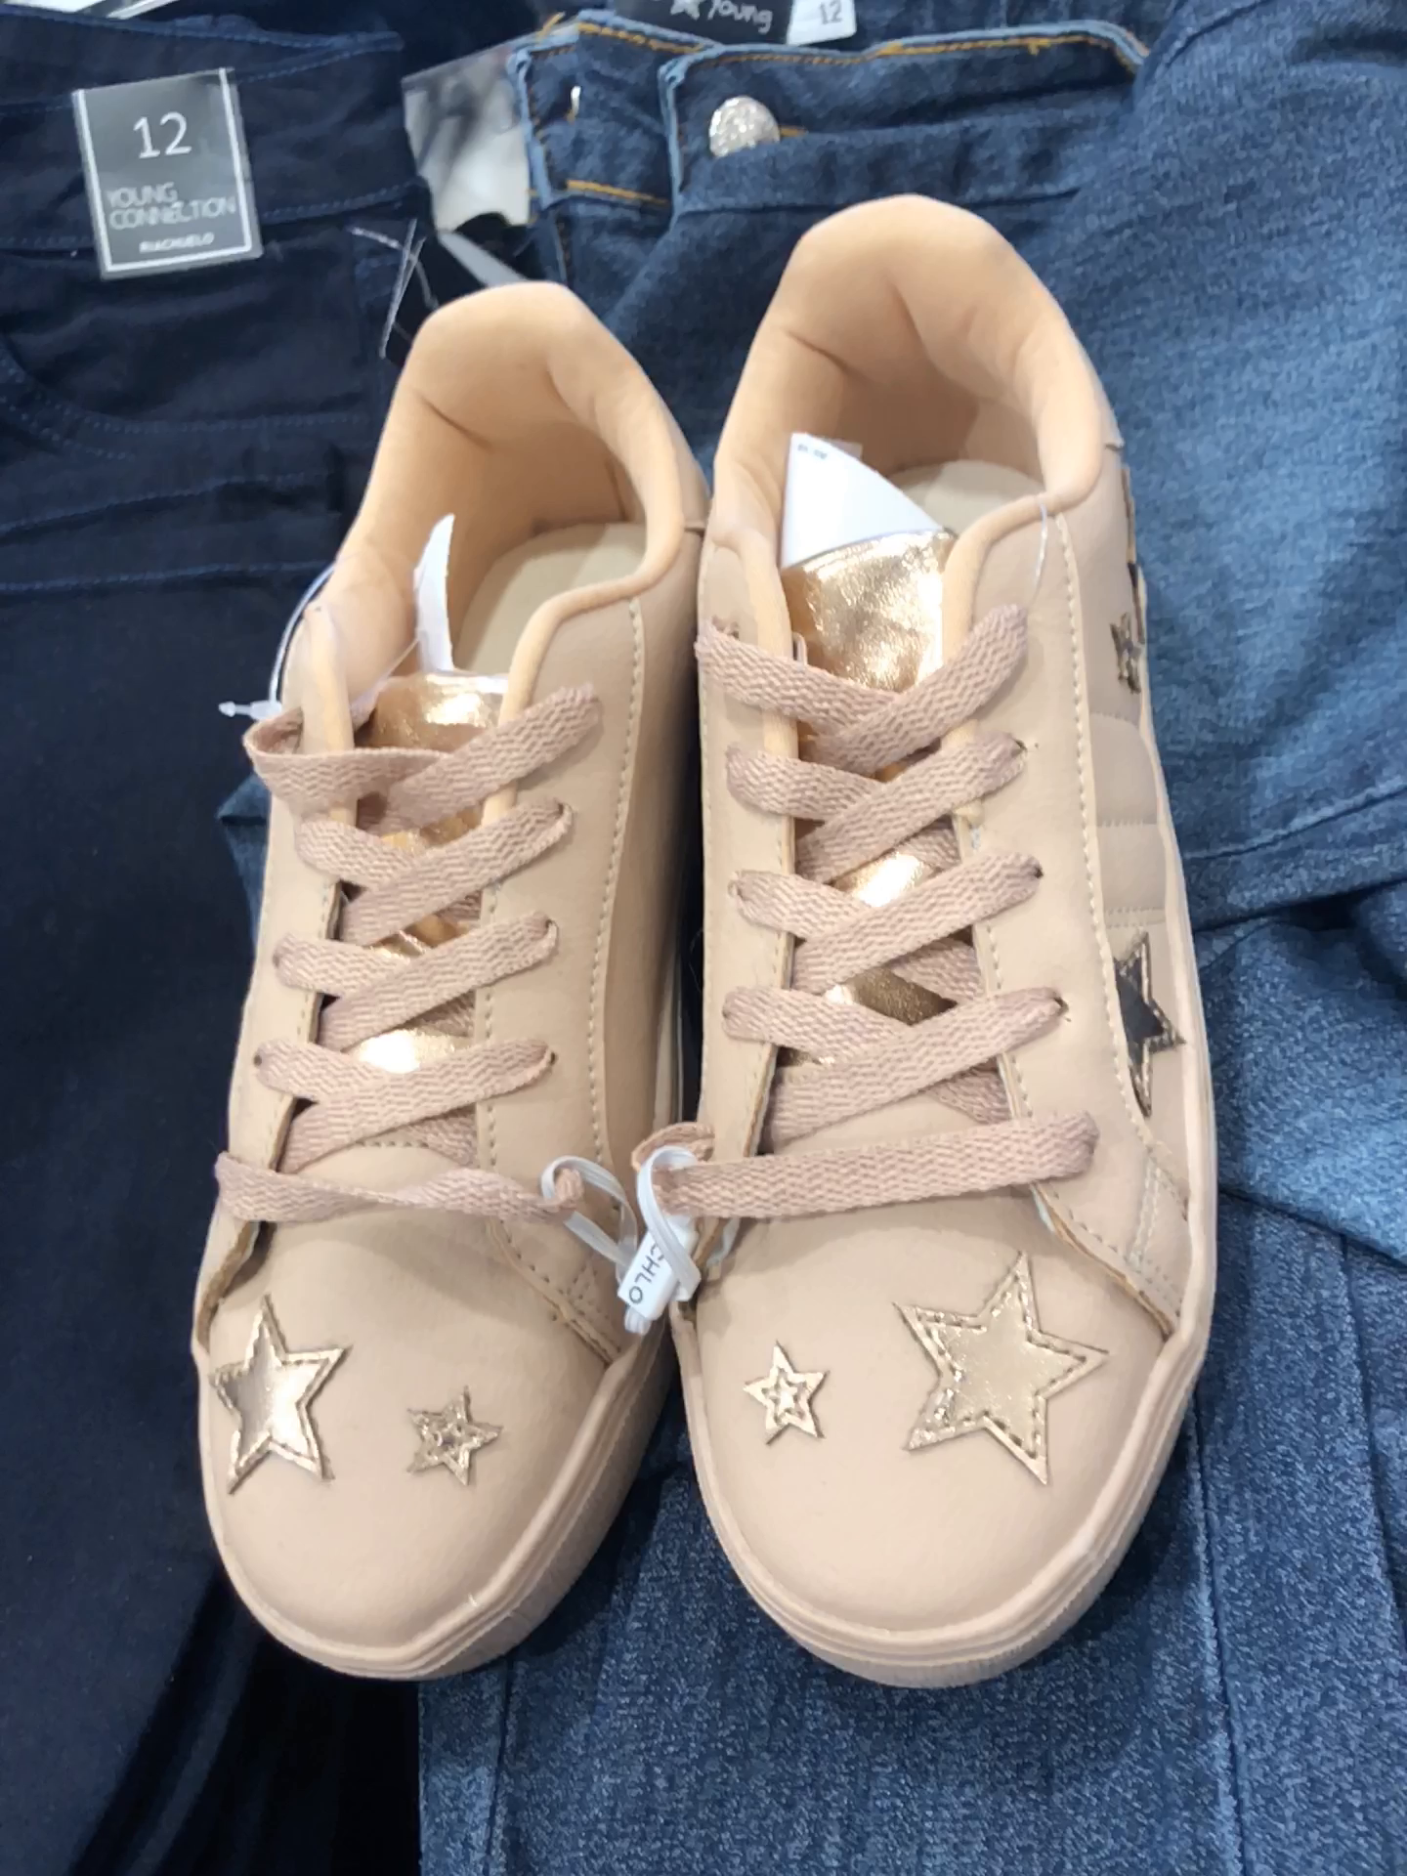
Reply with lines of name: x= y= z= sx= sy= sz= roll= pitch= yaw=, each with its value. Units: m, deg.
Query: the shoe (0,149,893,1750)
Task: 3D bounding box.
shoe: x=-0.030 y=-0.004 z=0.281 sx=0.090 sy=0.090 sz=0.251 roll=-2 pitch=66 yaw=21

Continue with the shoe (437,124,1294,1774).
shoe: x=0.035 y=-0.007 z=0.263 sx=0.090 sy=0.089 sz=0.251 roll=-7 pitch=58 yaw=18
